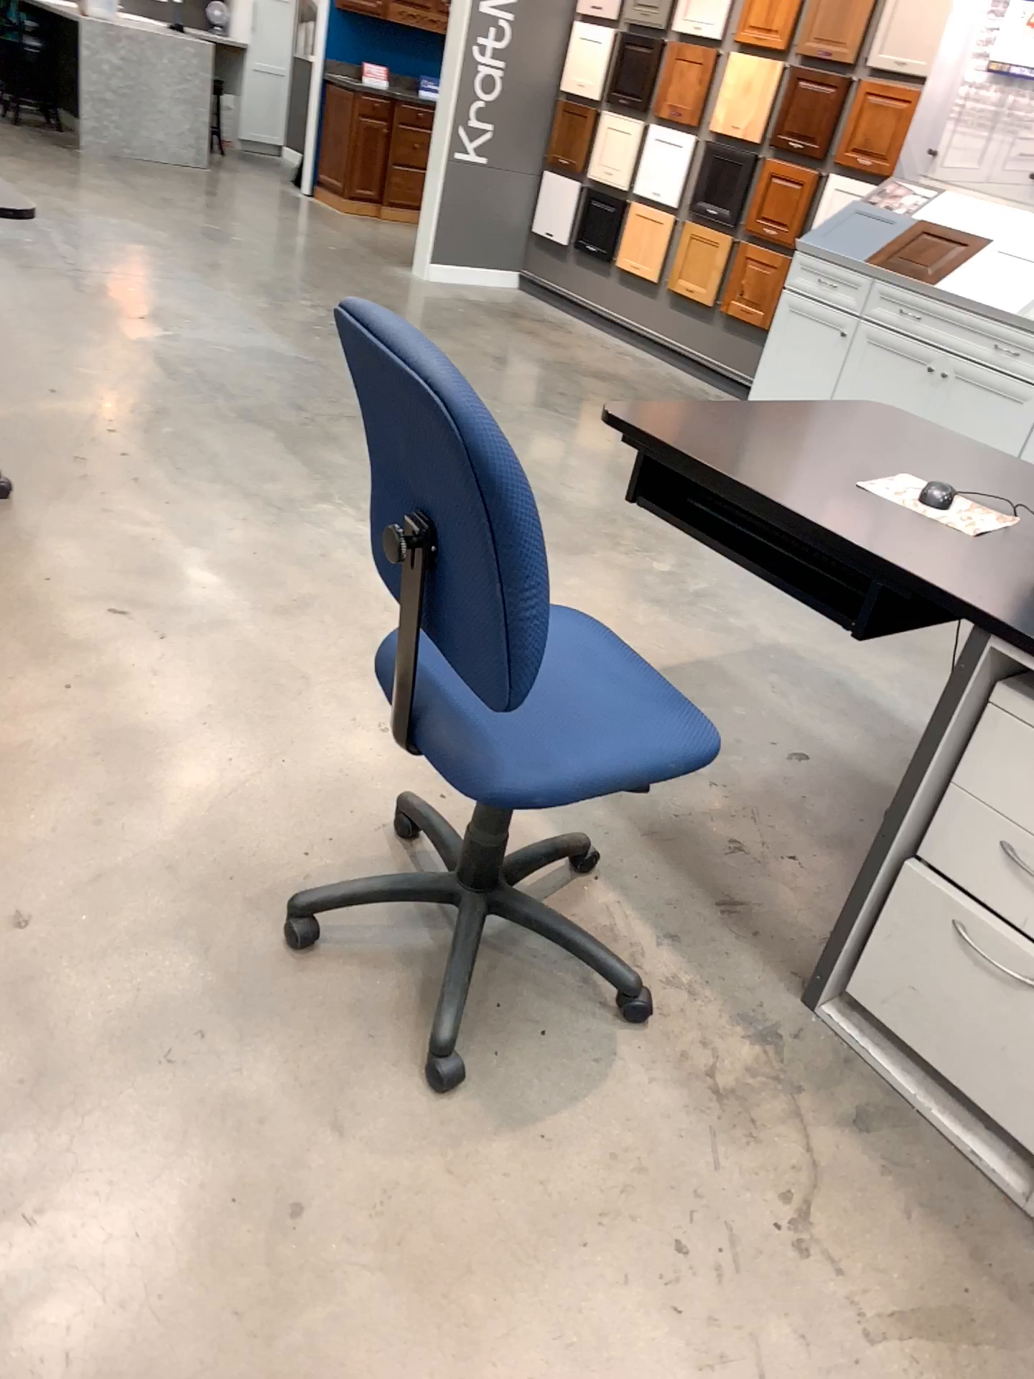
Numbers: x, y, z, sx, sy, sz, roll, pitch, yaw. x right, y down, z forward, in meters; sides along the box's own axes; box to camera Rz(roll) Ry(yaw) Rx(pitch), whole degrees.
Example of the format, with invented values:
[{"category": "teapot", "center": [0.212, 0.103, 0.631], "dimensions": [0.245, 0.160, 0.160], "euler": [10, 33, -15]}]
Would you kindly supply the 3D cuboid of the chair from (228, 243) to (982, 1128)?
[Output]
[{"category": "chair", "center": [0.021, -0.025, 1.624], "dimensions": [0.693, 1.035, 0.661], "euler": [-5, 35, -30]}]
